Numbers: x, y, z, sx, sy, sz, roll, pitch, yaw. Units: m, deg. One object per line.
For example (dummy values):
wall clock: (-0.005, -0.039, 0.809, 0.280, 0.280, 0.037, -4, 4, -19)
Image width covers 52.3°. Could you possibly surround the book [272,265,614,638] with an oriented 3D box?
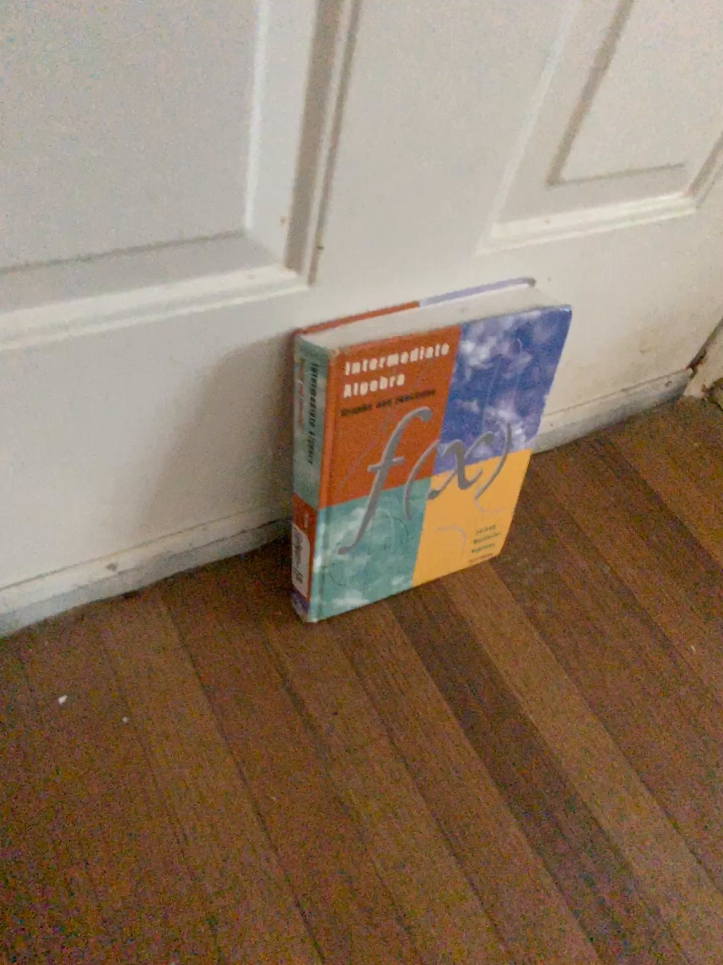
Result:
book: (0.054, -0.020, 0.567, 0.231, 0.249, 0.060, -16, 43, -22)
